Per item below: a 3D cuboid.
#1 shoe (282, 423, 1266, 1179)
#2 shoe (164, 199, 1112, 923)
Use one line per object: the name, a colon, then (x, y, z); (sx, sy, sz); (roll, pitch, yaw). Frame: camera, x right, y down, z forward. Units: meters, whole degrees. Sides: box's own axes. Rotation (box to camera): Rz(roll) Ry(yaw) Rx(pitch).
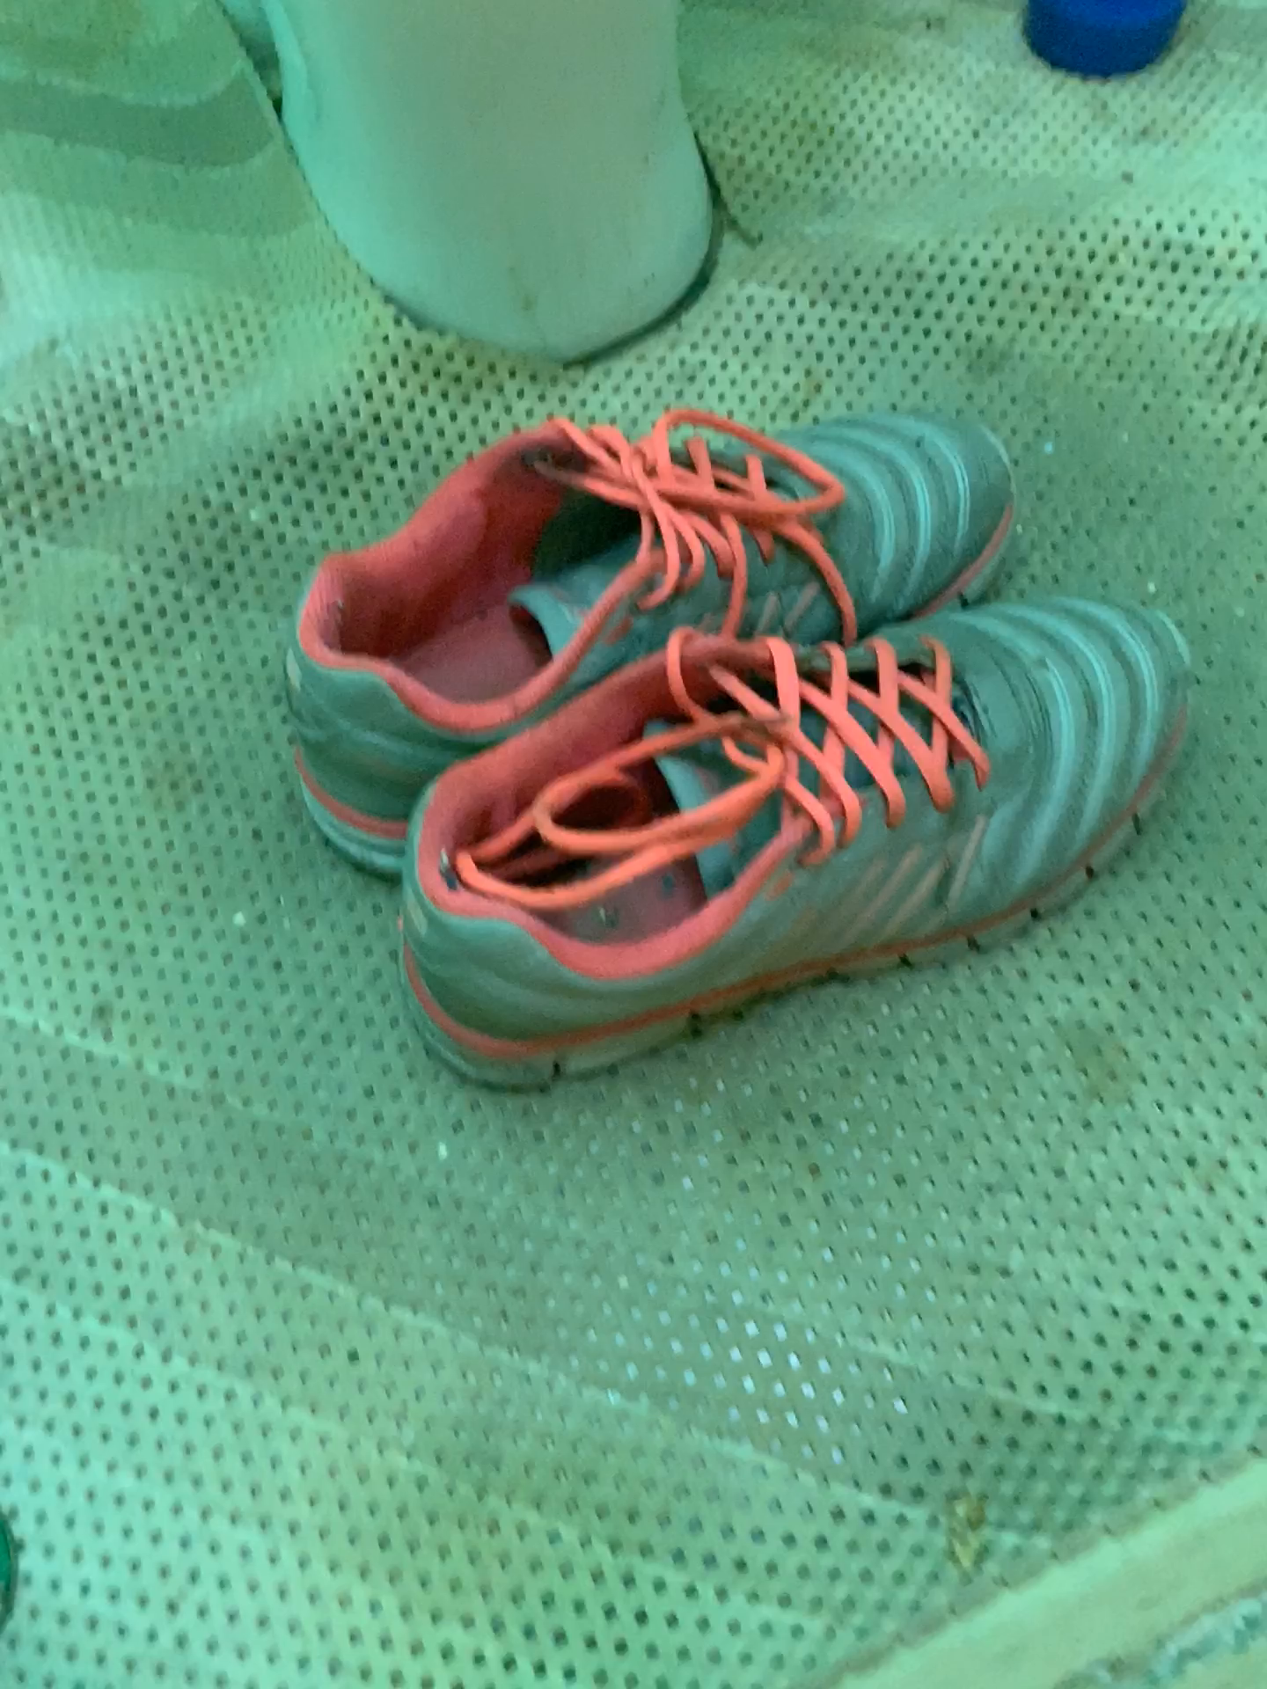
shoe: (0.051, -0.011, 0.390); (0.268, 0.090, 0.110); (-21, 65, -5)
shoe: (0.003, -0.095, 0.440); (0.270, 0.090, 0.110); (-26, 66, -7)
